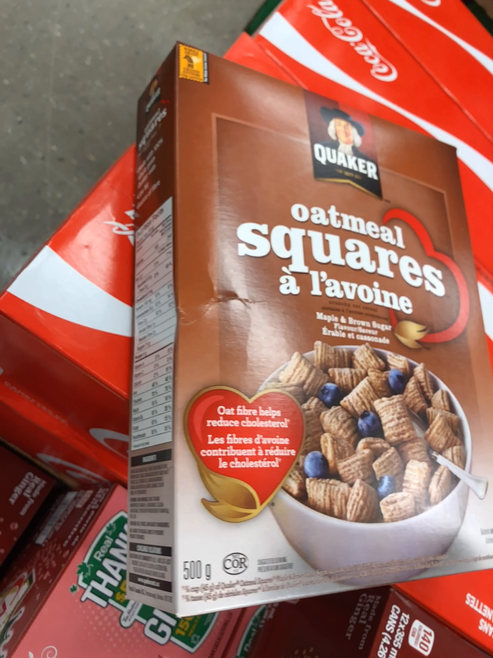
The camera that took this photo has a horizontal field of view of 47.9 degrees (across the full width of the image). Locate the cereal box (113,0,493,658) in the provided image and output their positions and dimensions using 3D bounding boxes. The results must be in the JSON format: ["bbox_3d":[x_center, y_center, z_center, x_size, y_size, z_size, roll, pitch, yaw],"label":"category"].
[{"bbox_3d":[0.059,-0.010,0.298,0.241,0.050,0.290,7,71,-29],"label":"cereal box"}]
